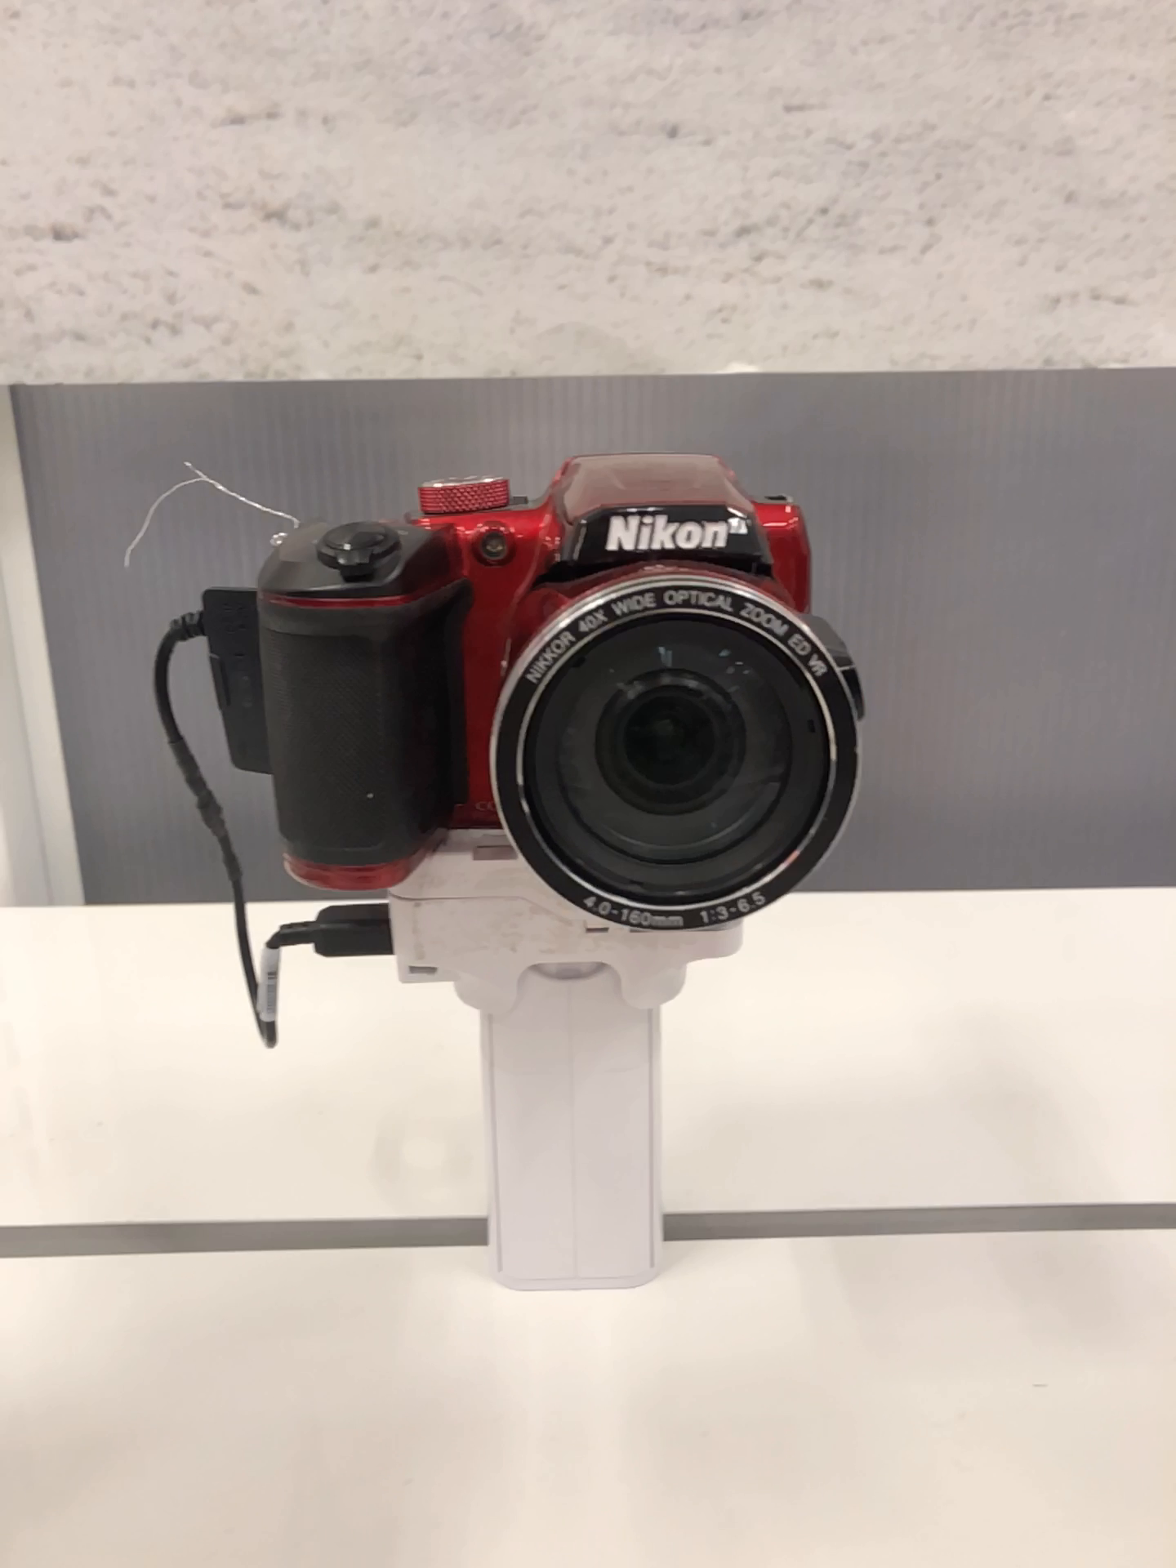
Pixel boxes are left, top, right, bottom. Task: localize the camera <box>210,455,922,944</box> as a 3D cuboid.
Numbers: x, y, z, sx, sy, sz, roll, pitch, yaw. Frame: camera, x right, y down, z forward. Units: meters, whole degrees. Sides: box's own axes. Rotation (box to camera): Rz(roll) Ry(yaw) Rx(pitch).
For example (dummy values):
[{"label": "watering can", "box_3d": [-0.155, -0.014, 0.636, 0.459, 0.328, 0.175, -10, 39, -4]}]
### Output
[{"label": "camera", "box_3d": [-0.003, -0.022, 0.253, 0.110, 0.074, 0.084, -1, 18, -1]}]
